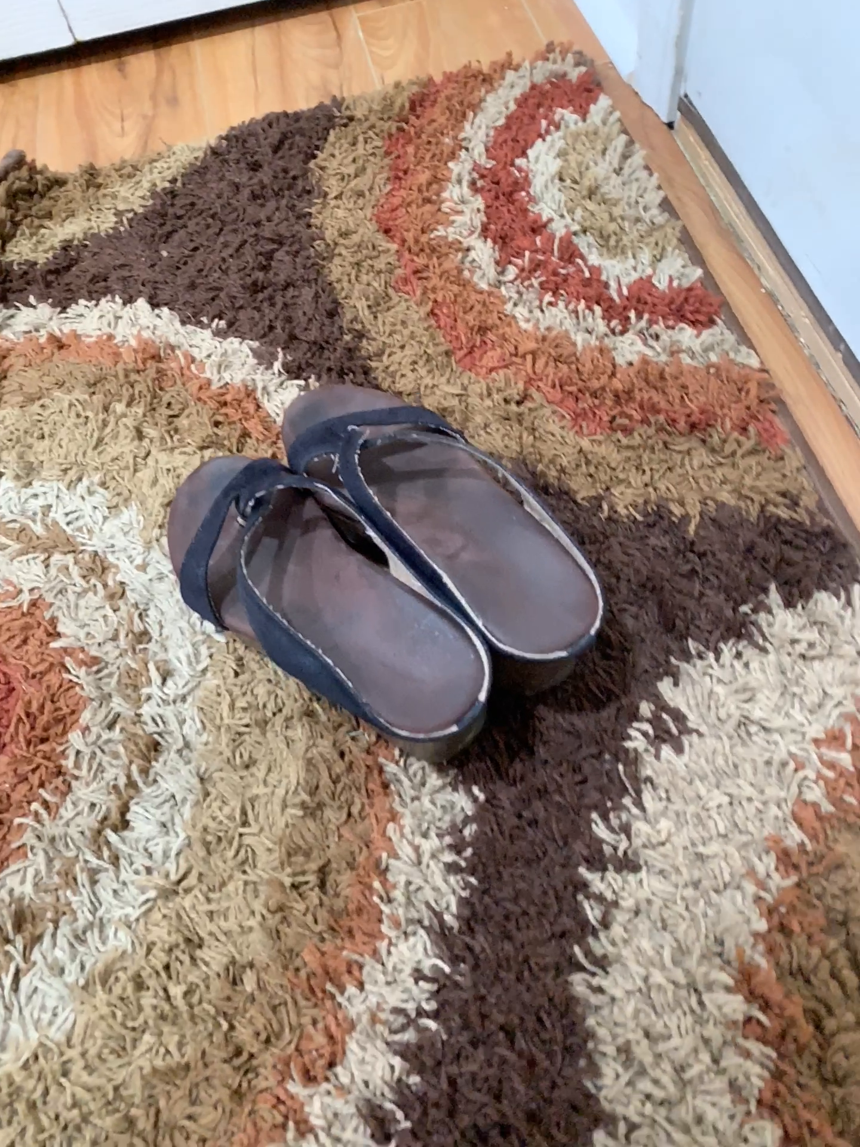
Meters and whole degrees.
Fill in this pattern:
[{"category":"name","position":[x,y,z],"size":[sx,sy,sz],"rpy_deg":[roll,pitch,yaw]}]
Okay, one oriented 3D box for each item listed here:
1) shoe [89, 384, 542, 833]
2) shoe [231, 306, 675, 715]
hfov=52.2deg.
[{"category":"shoe","position":[-0.059,0.009,0.433],"size":[0.090,0.062,0.223],"rpy_deg":[-42,64,-16]},{"category":"shoe","position":[0.004,-0.041,0.445],"size":[0.084,0.052,0.224],"rpy_deg":[-41,63,-16]}]
